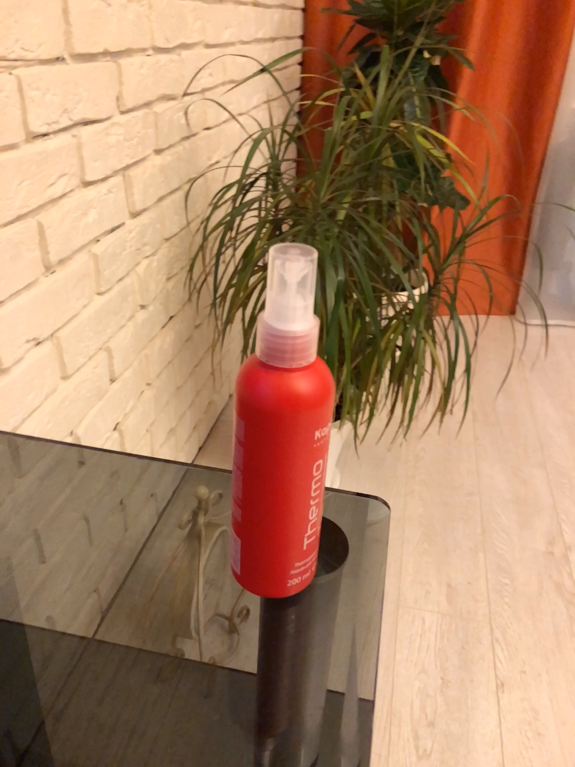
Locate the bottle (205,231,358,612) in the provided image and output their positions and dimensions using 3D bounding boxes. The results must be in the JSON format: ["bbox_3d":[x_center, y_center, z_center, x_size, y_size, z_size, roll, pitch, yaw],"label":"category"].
[{"bbox_3d":[-0.005,0.024,0.307,0.052,0.179,0.048,2,29,-1],"label":"bottle"}]
